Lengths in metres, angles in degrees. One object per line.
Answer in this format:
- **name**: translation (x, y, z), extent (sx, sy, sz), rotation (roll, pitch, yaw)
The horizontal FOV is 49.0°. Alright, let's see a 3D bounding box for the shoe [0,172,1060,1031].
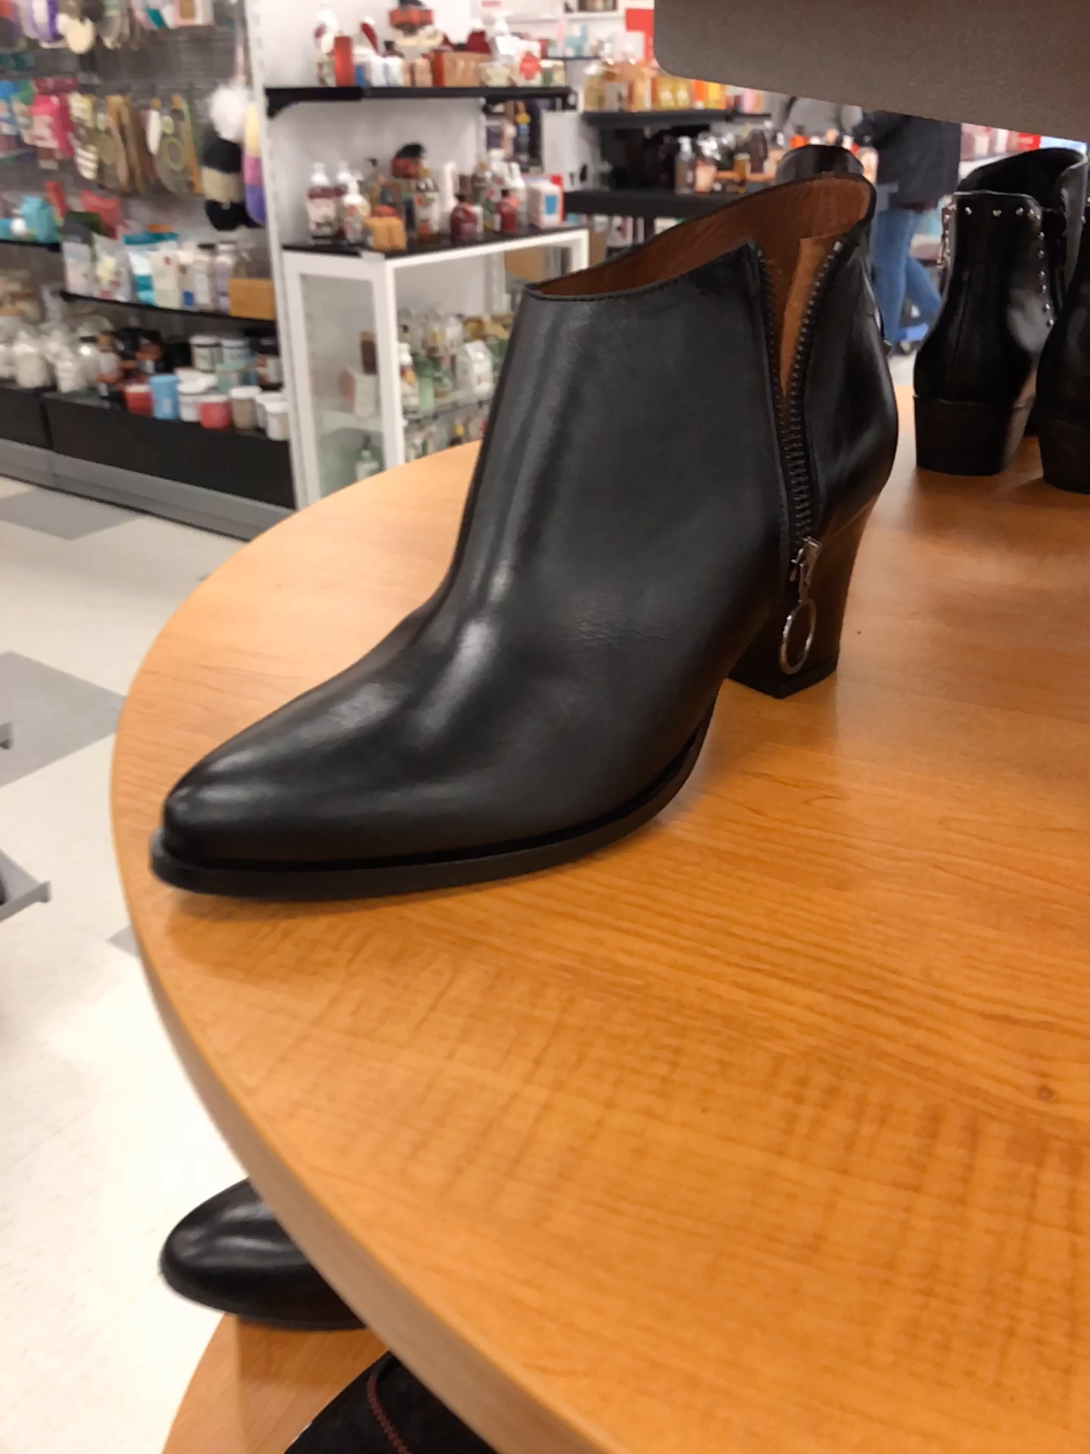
- **shoe**: translation (0.012, -0.060, 0.333), extent (0.258, 0.156, 0.101), rotation (-21, 34, -33)
